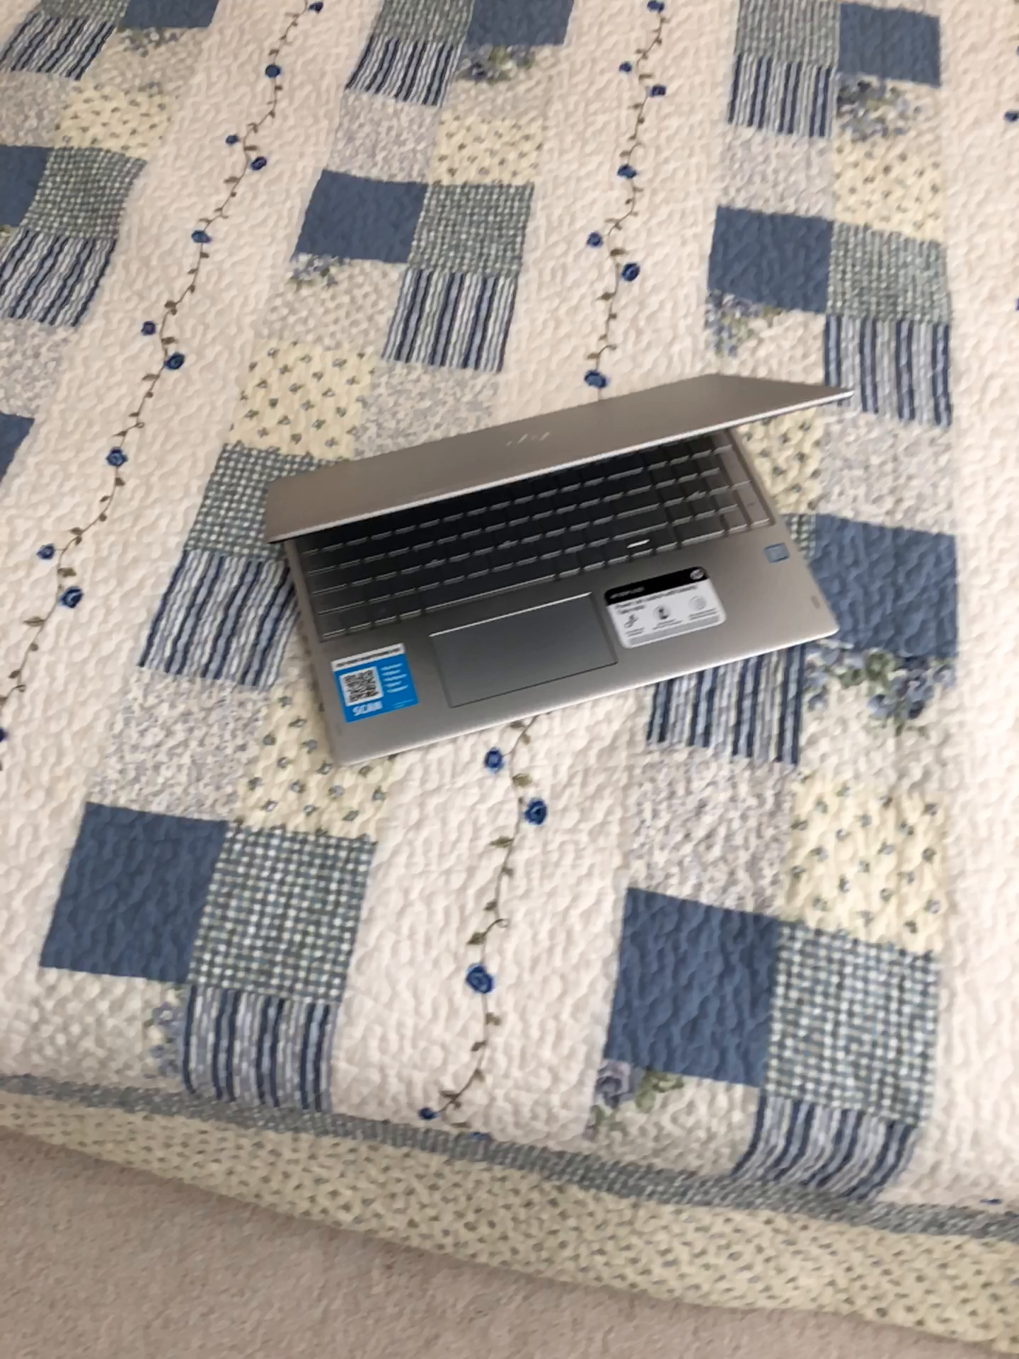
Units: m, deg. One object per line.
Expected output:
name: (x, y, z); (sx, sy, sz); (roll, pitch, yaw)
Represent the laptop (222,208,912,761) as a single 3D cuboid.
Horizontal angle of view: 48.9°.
laptop: (0.023, -0.130, 0.733); (0.348, 0.158, 0.242); (-15, 61, -6)
